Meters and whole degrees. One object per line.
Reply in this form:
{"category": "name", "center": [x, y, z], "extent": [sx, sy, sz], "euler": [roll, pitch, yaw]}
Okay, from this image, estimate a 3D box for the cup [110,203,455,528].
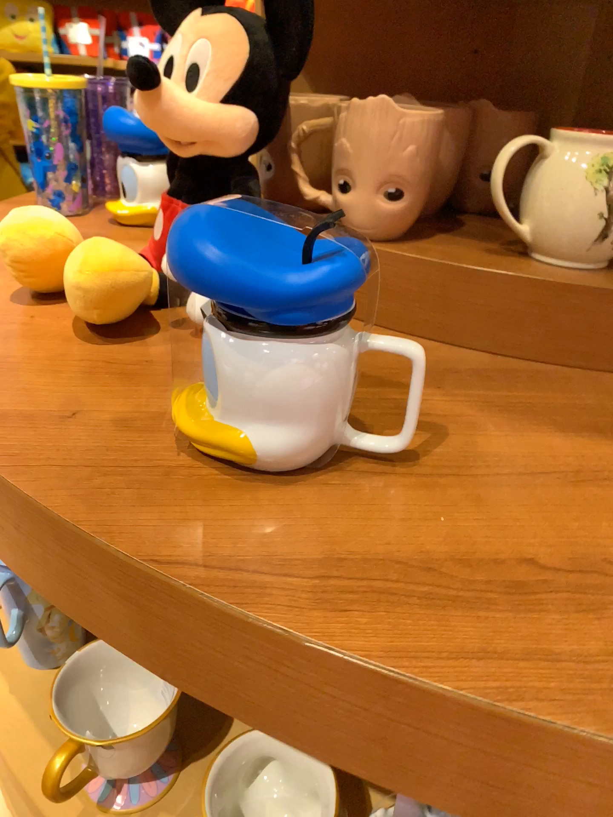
{"category": "cup", "center": [-0.004, -0.032, 0.346], "extent": [0.149, 0.132, 0.106], "euler": [7, 28, 13]}
